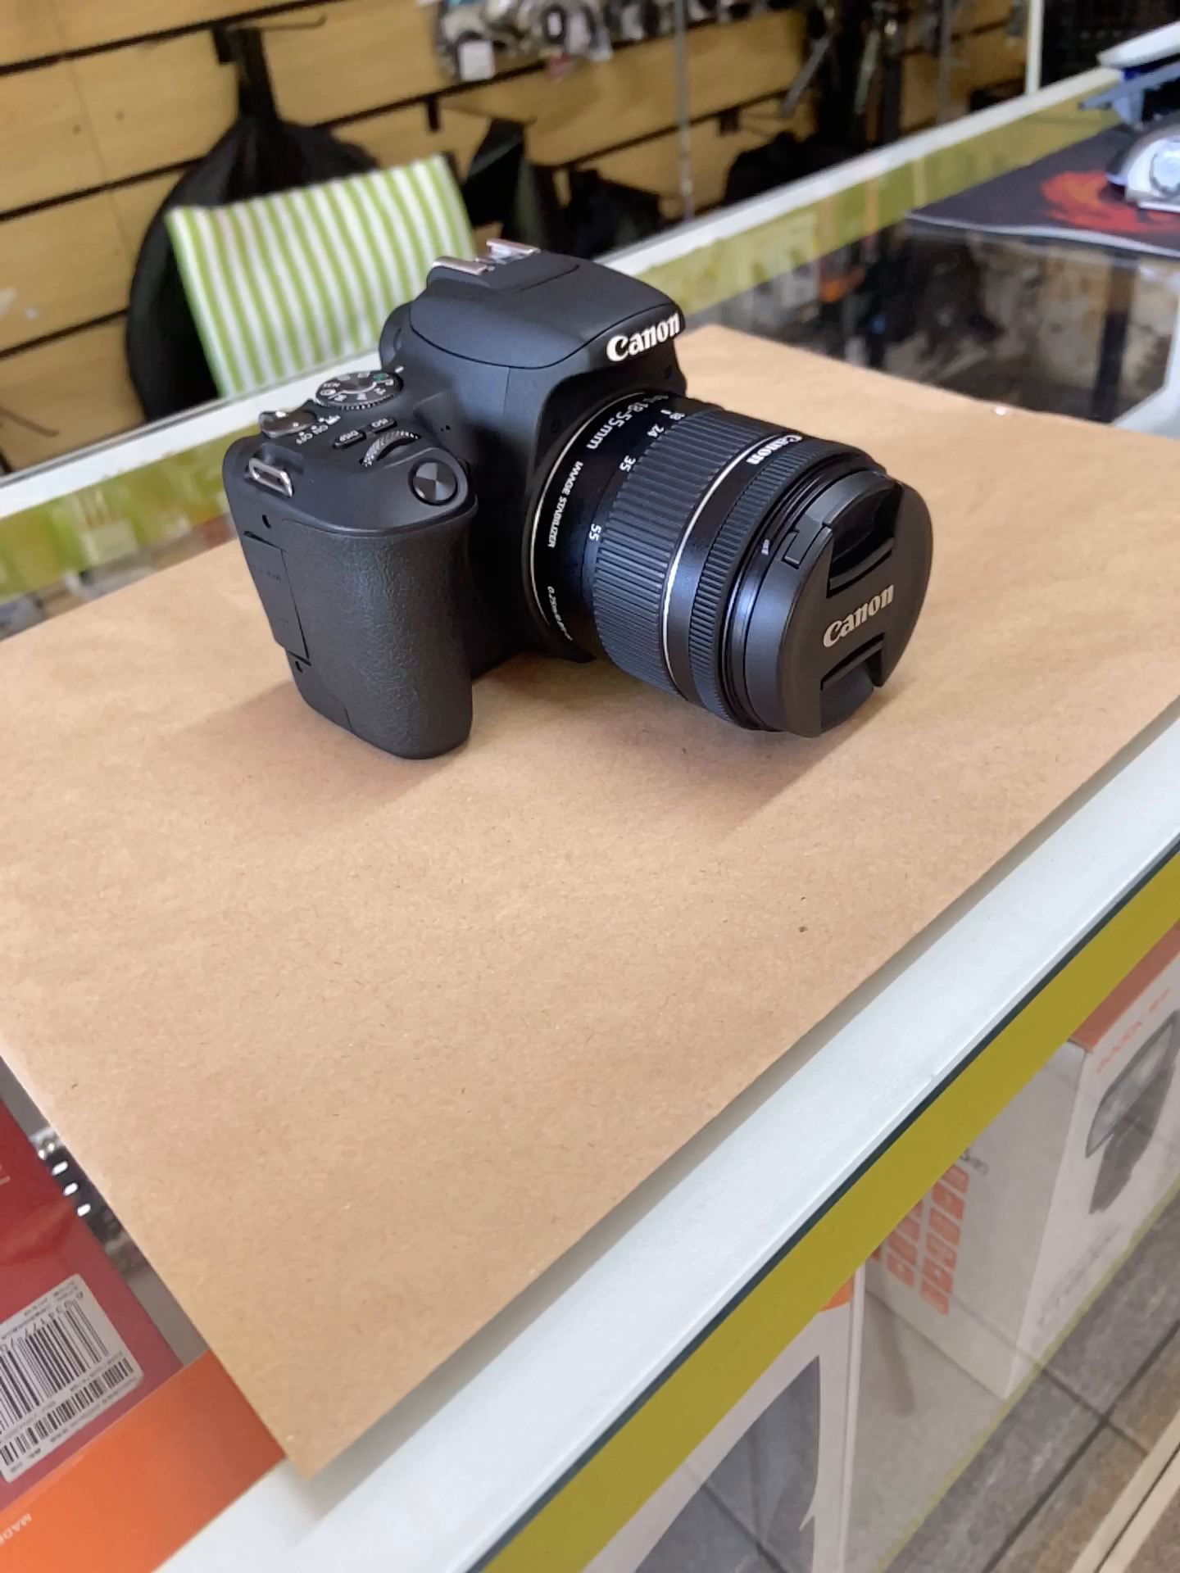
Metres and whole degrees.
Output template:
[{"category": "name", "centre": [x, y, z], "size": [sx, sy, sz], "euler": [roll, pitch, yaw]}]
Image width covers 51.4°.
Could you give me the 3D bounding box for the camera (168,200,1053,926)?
[{"category": "camera", "centre": [0.010, -0.067, 0.289], "size": [0.130, 0.089, 0.141], "euler": [25, 49, 35]}]
